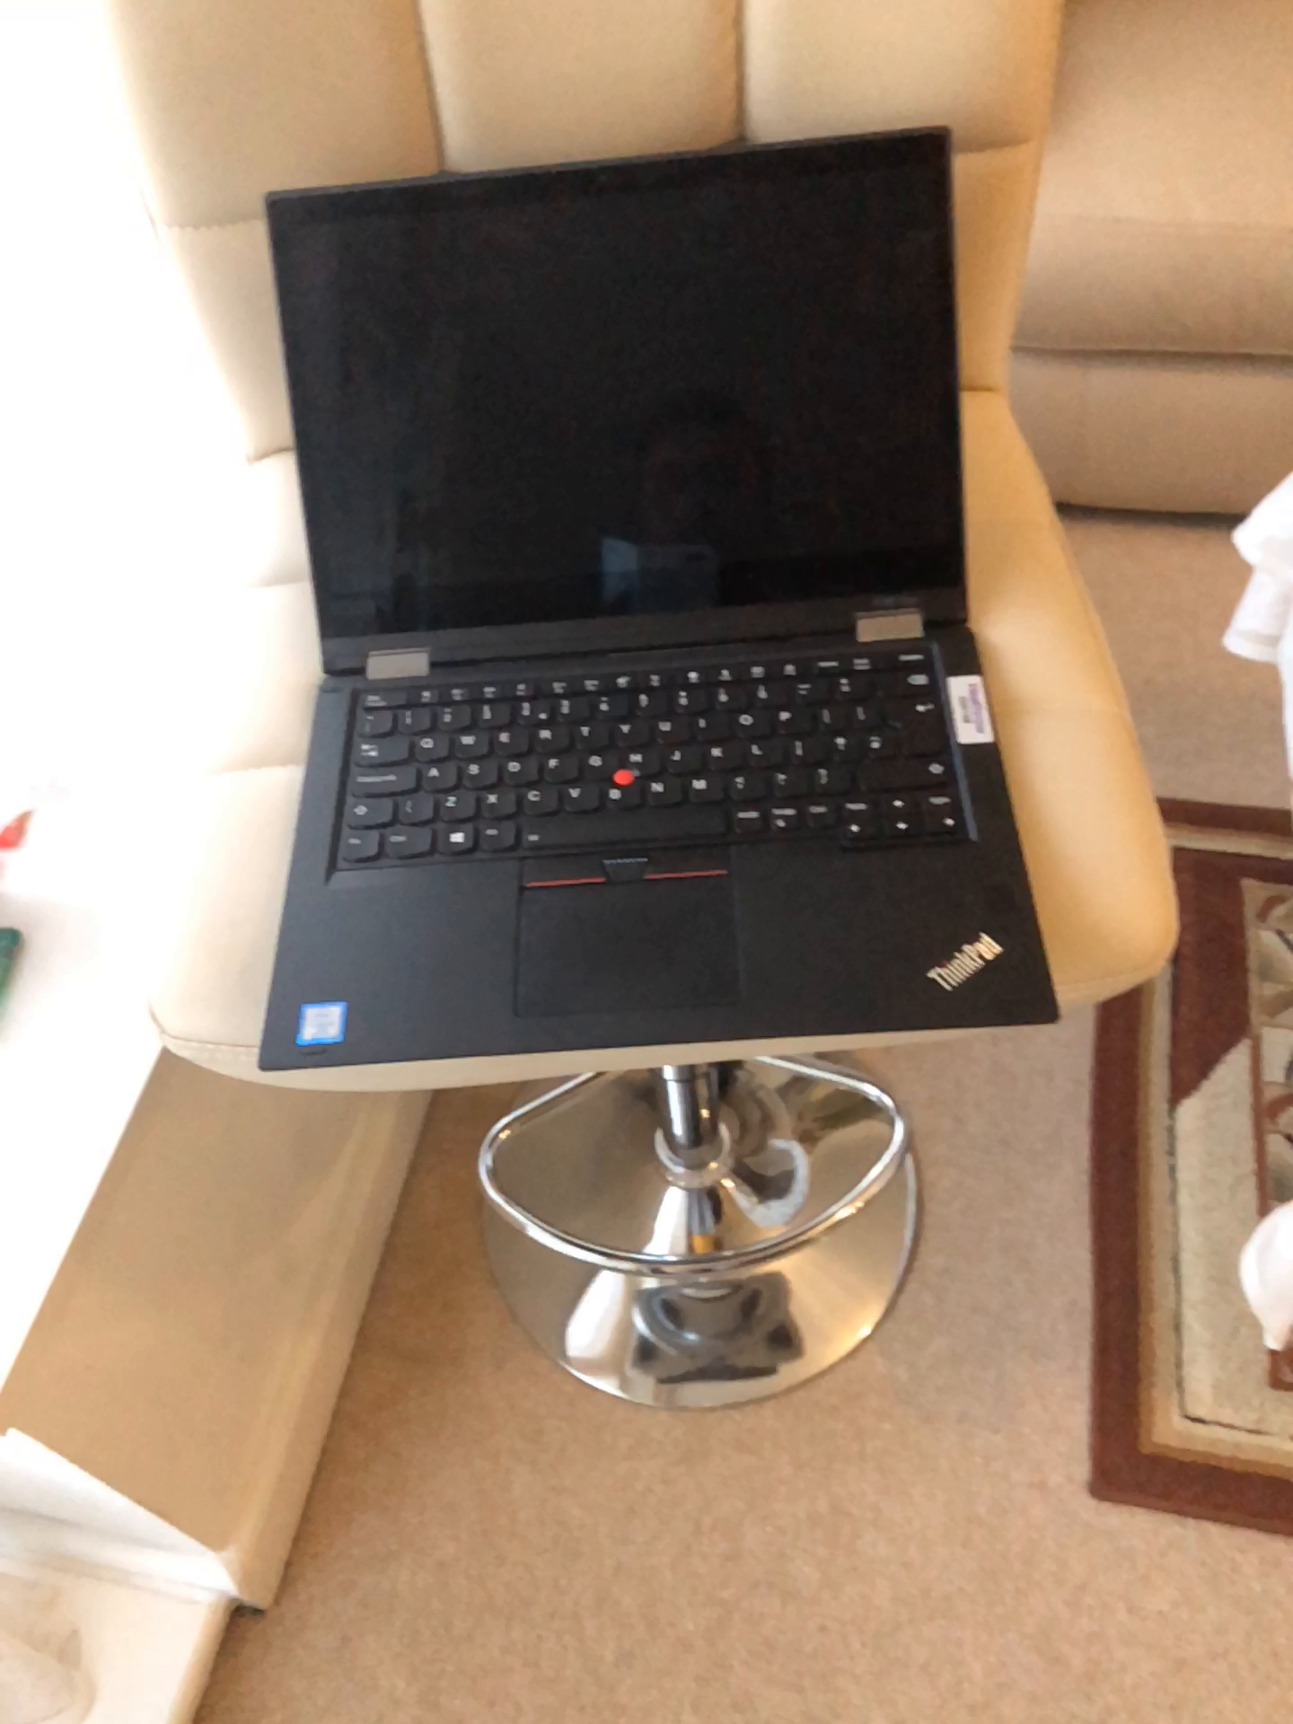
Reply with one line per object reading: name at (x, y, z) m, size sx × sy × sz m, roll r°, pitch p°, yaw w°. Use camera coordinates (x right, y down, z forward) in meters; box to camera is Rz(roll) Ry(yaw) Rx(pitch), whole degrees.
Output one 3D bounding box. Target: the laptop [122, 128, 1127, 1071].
laptop at (-0.008, -0.125, 0.610) m, size 0.308 × 0.165 × 0.368 m, roll -4°, pitch 53°, yaw 3°
